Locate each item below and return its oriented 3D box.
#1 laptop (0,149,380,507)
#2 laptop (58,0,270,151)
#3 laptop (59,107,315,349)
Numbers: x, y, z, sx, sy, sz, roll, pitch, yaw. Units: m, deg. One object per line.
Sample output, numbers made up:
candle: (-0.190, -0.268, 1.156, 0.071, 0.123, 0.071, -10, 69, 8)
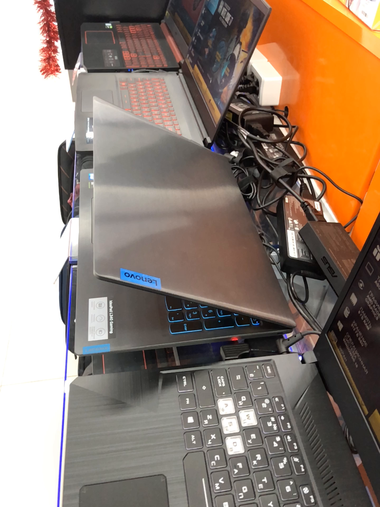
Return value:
laptop: (0.046, 0.154, 0.220, 0.277, 0.250, 0.385, -3, 43, -7)
laptop: (-0.064, -0.408, 0.834, 0.325, 0.228, 0.350, -5, 45, -9)
laptop: (-0.025, -0.065, 0.556, 0.240, 0.118, 0.349, -4, 42, -8)
